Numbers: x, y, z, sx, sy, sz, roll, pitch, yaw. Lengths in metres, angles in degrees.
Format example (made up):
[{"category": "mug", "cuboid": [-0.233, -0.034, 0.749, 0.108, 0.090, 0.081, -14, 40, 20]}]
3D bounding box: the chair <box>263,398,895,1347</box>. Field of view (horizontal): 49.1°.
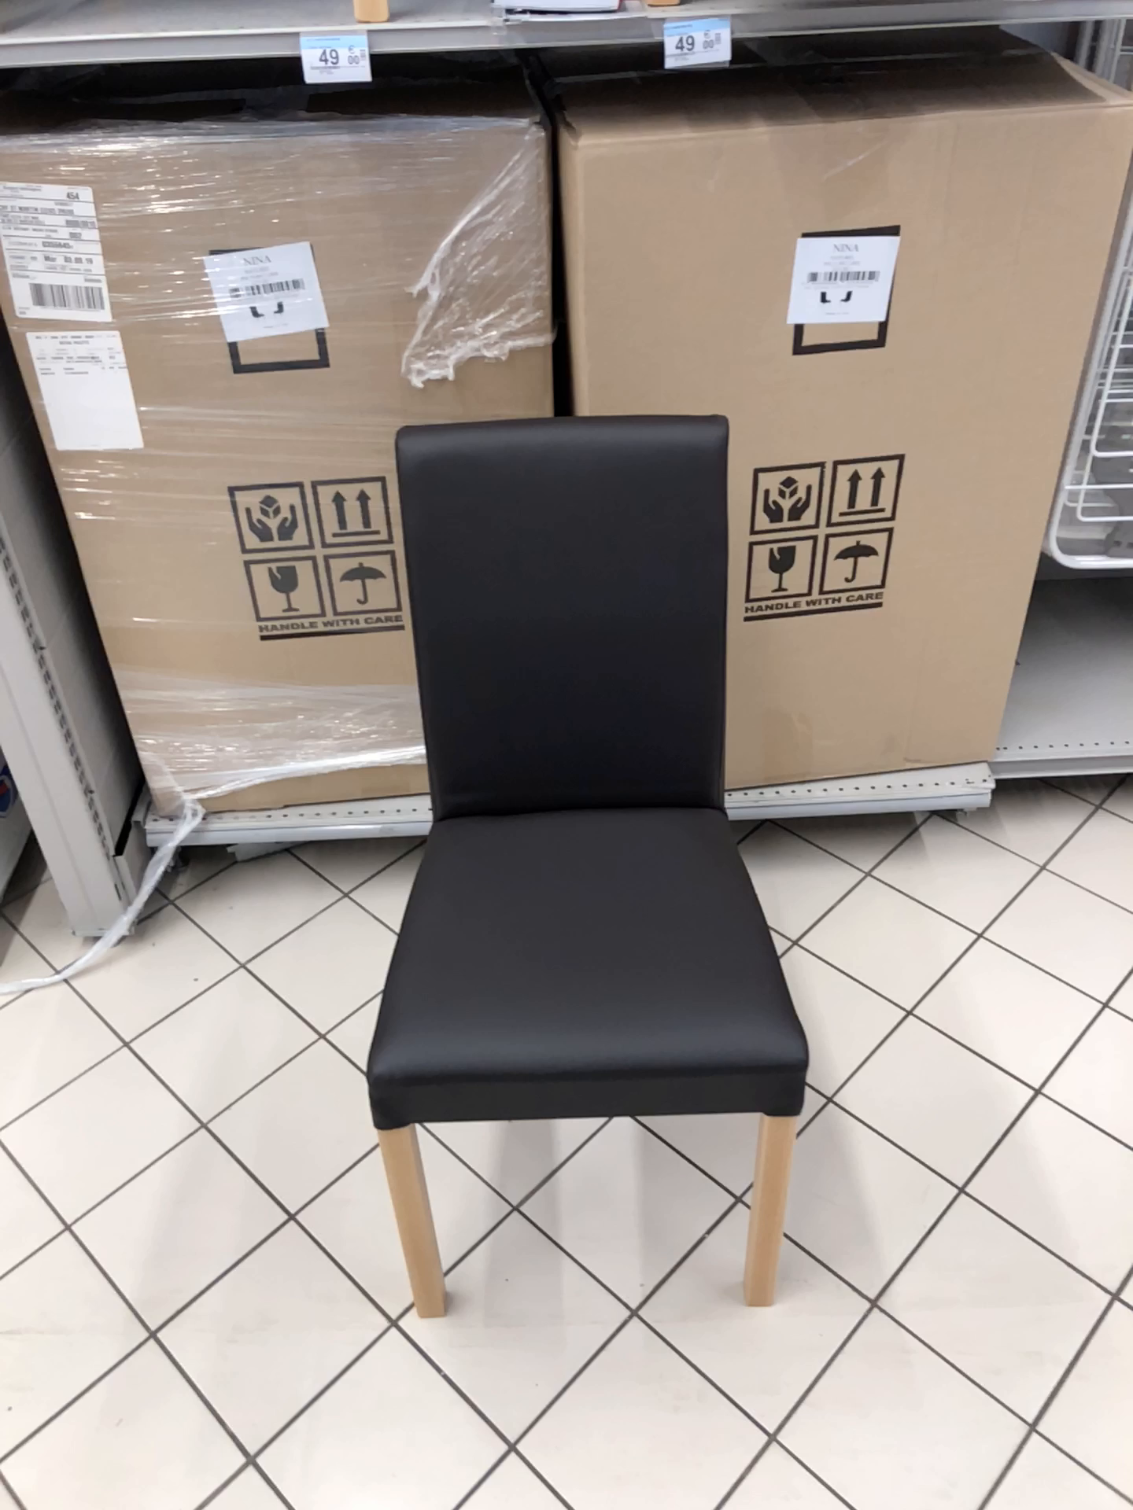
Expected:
[{"category": "chair", "cuboid": [0.010, 0.142, 1.378, 0.450, 0.855, 0.594, -3, 39, -1]}]
